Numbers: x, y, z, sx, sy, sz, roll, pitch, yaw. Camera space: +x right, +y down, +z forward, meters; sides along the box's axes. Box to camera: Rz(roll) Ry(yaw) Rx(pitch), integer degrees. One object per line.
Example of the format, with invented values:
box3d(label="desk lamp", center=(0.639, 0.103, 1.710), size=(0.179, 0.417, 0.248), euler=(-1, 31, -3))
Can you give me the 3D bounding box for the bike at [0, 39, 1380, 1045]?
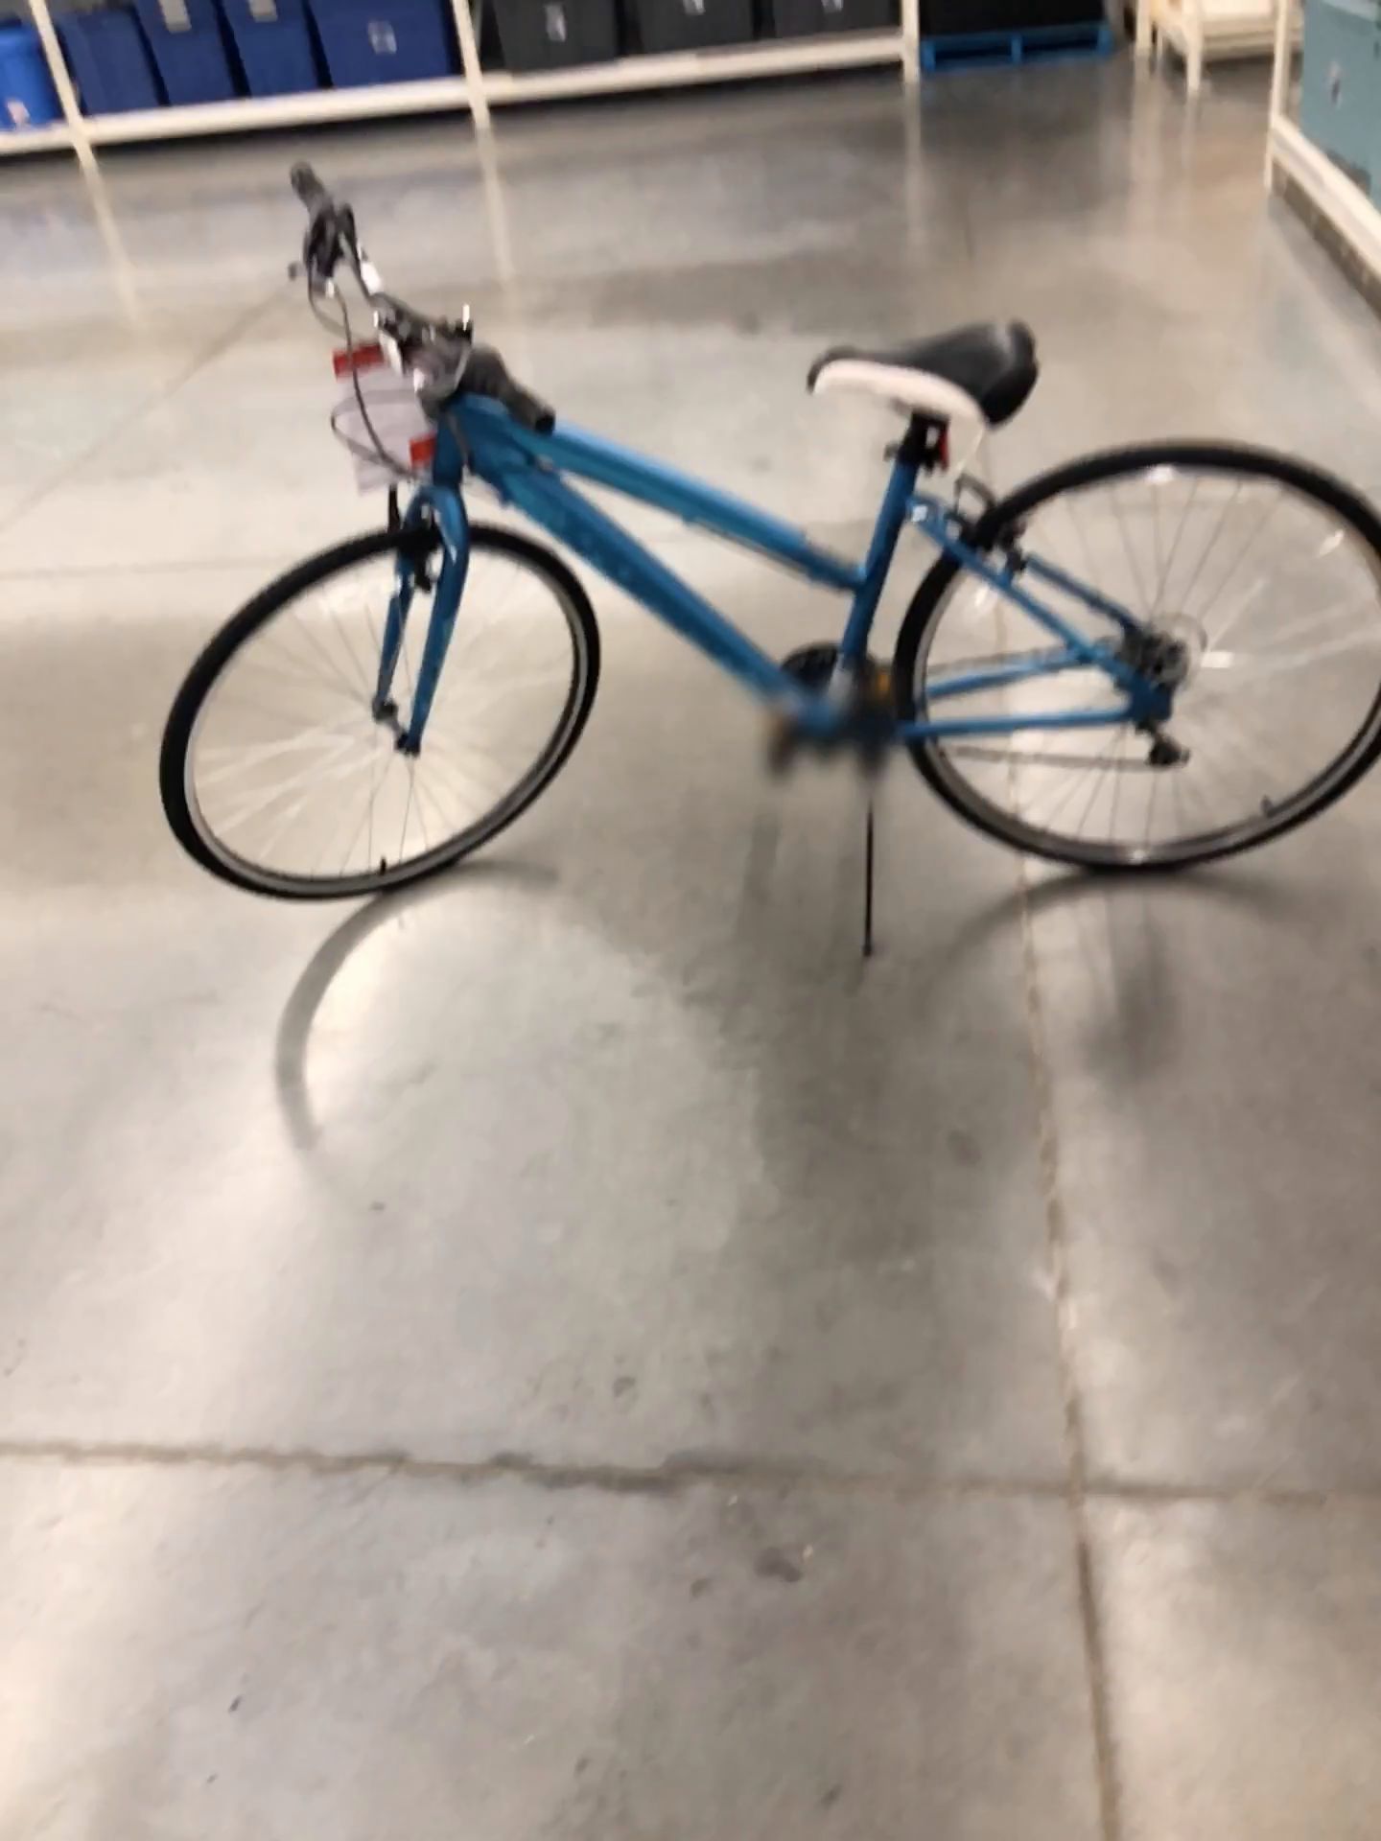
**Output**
box3d(label="bike", center=(0.107, -0.449, 1.916), size=(1.604, 0.977, 0.581), euler=(-4, 36, 4))
